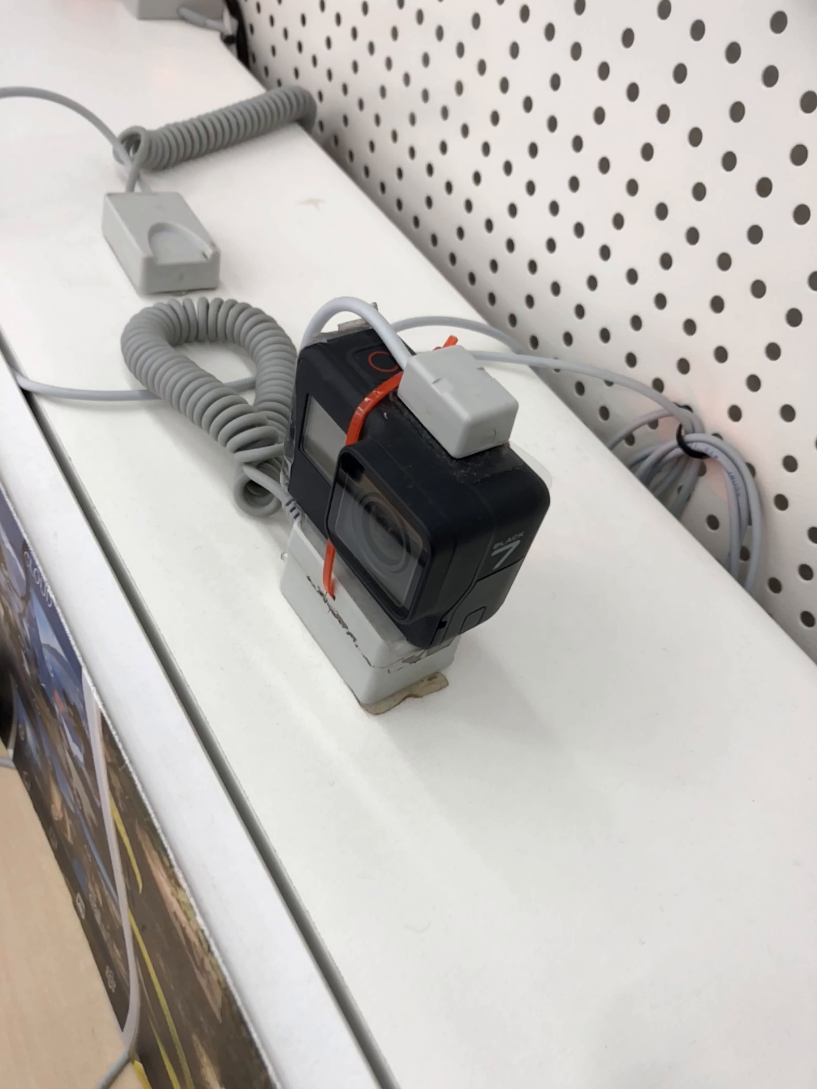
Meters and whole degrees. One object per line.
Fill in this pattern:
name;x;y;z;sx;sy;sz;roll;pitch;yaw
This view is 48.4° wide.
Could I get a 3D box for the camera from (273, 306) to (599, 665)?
camera;0.002;-0.015;0.205;0.032;0.043;0.064;-23;59;-33
